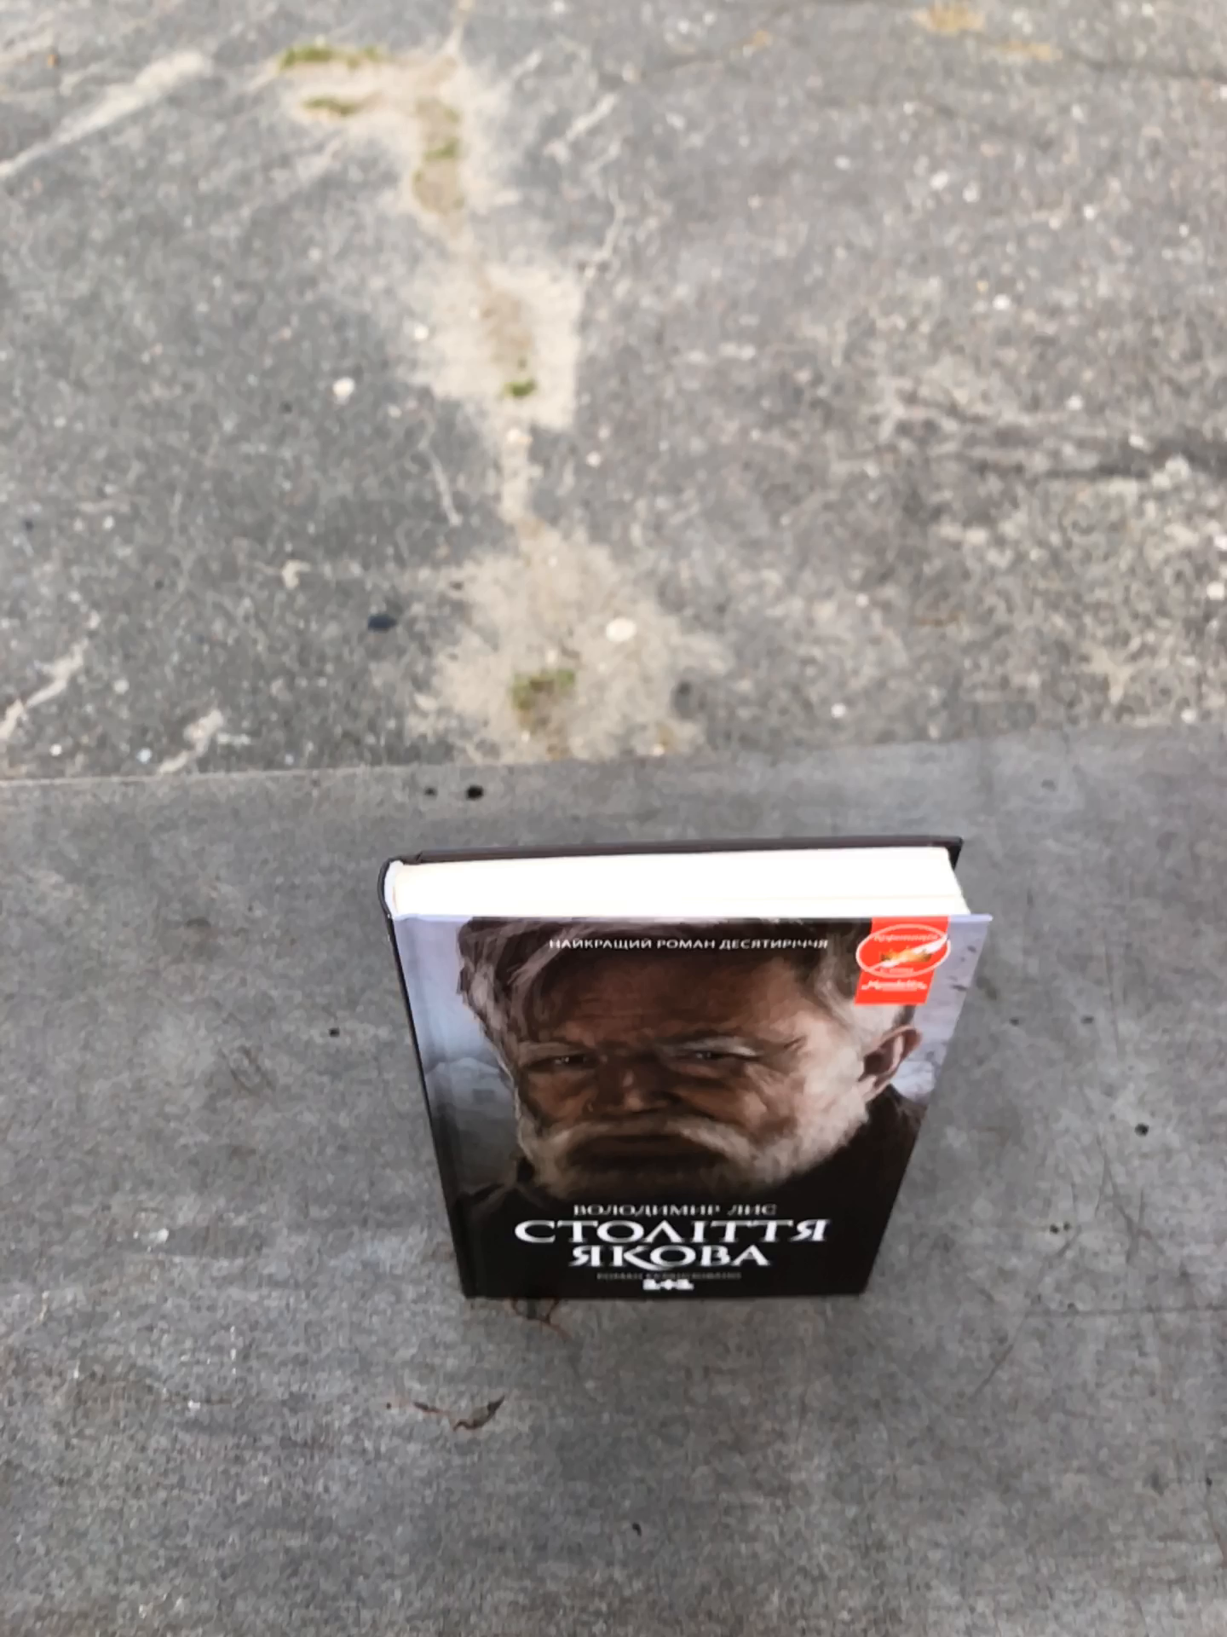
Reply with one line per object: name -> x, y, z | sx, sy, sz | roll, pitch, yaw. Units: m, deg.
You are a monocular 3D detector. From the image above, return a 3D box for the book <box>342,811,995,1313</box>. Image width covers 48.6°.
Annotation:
book -> 0.013, 0.080, 0.380 | 0.140, 0.211, 0.030 | 0, 48, 1
